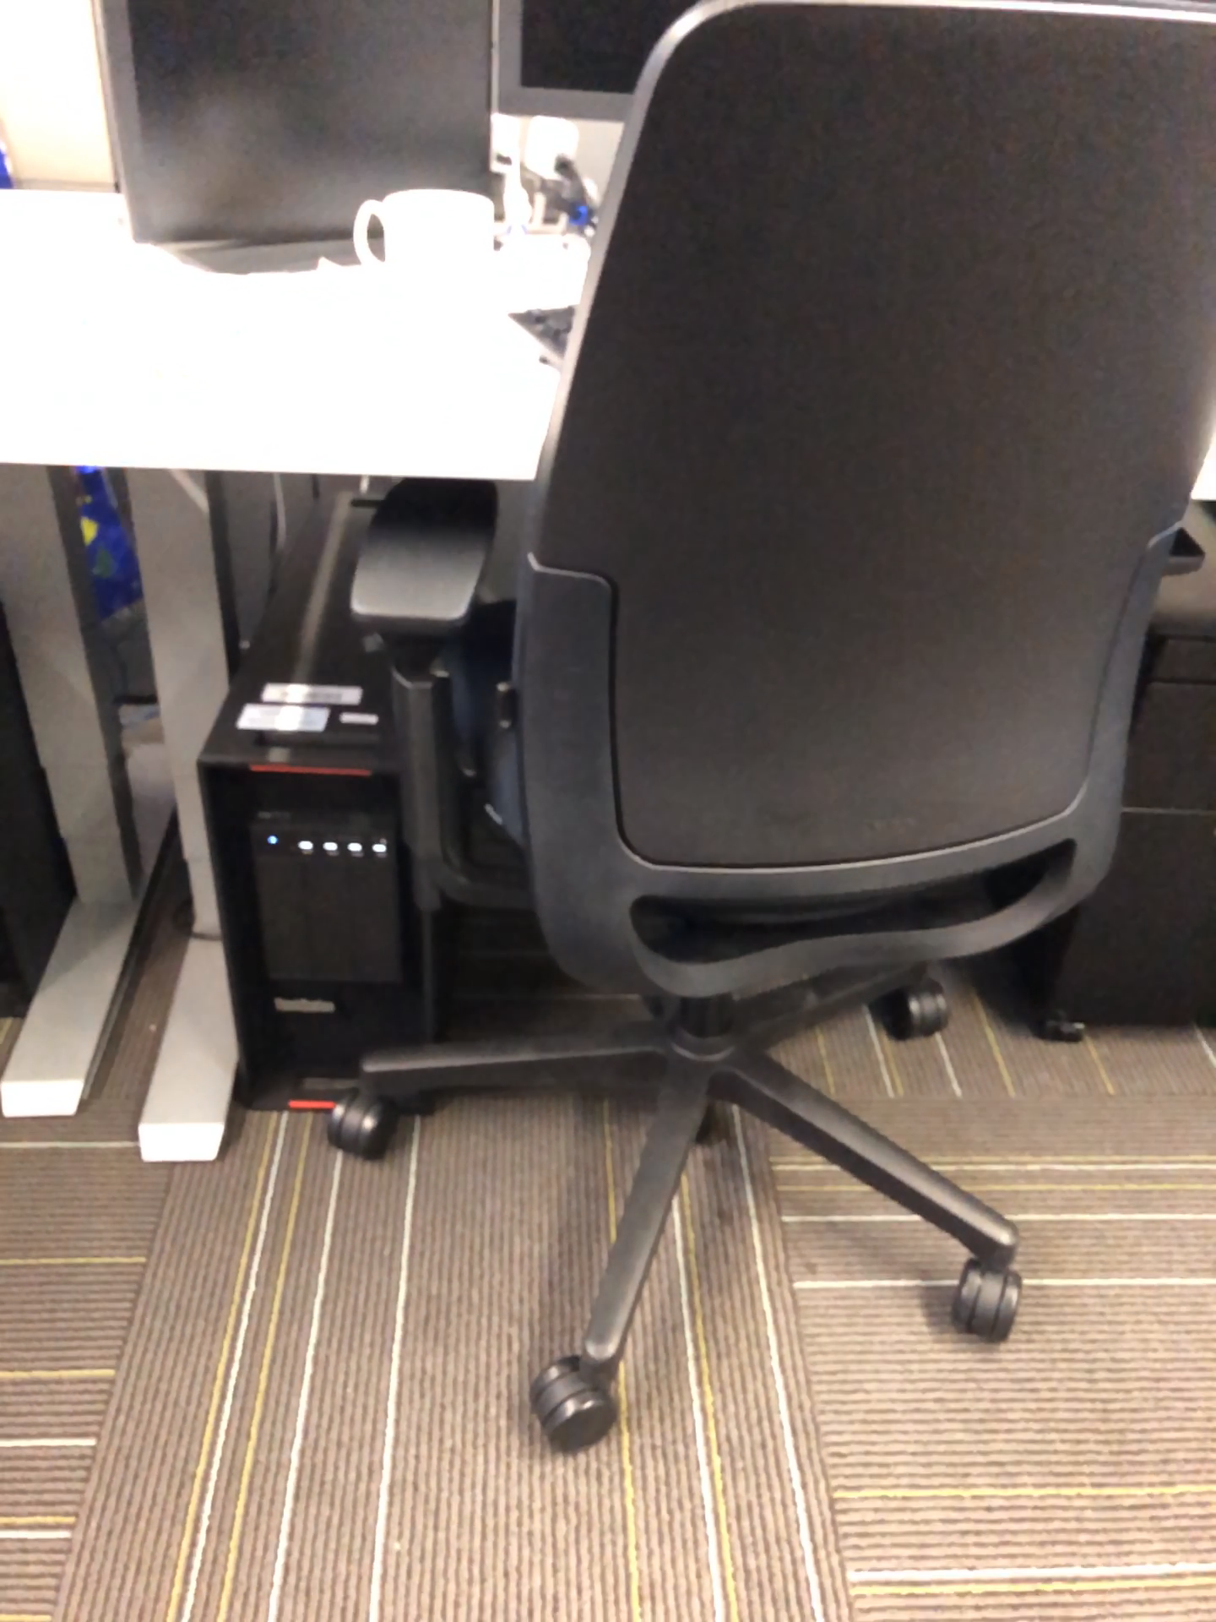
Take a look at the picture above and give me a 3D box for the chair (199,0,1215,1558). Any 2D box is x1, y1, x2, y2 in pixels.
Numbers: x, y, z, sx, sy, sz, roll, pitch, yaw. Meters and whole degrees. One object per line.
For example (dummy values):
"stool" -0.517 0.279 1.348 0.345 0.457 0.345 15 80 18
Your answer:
"chair" 0.104 -0.088 1.104 0.710 1.044 0.724 -5 35 -12
